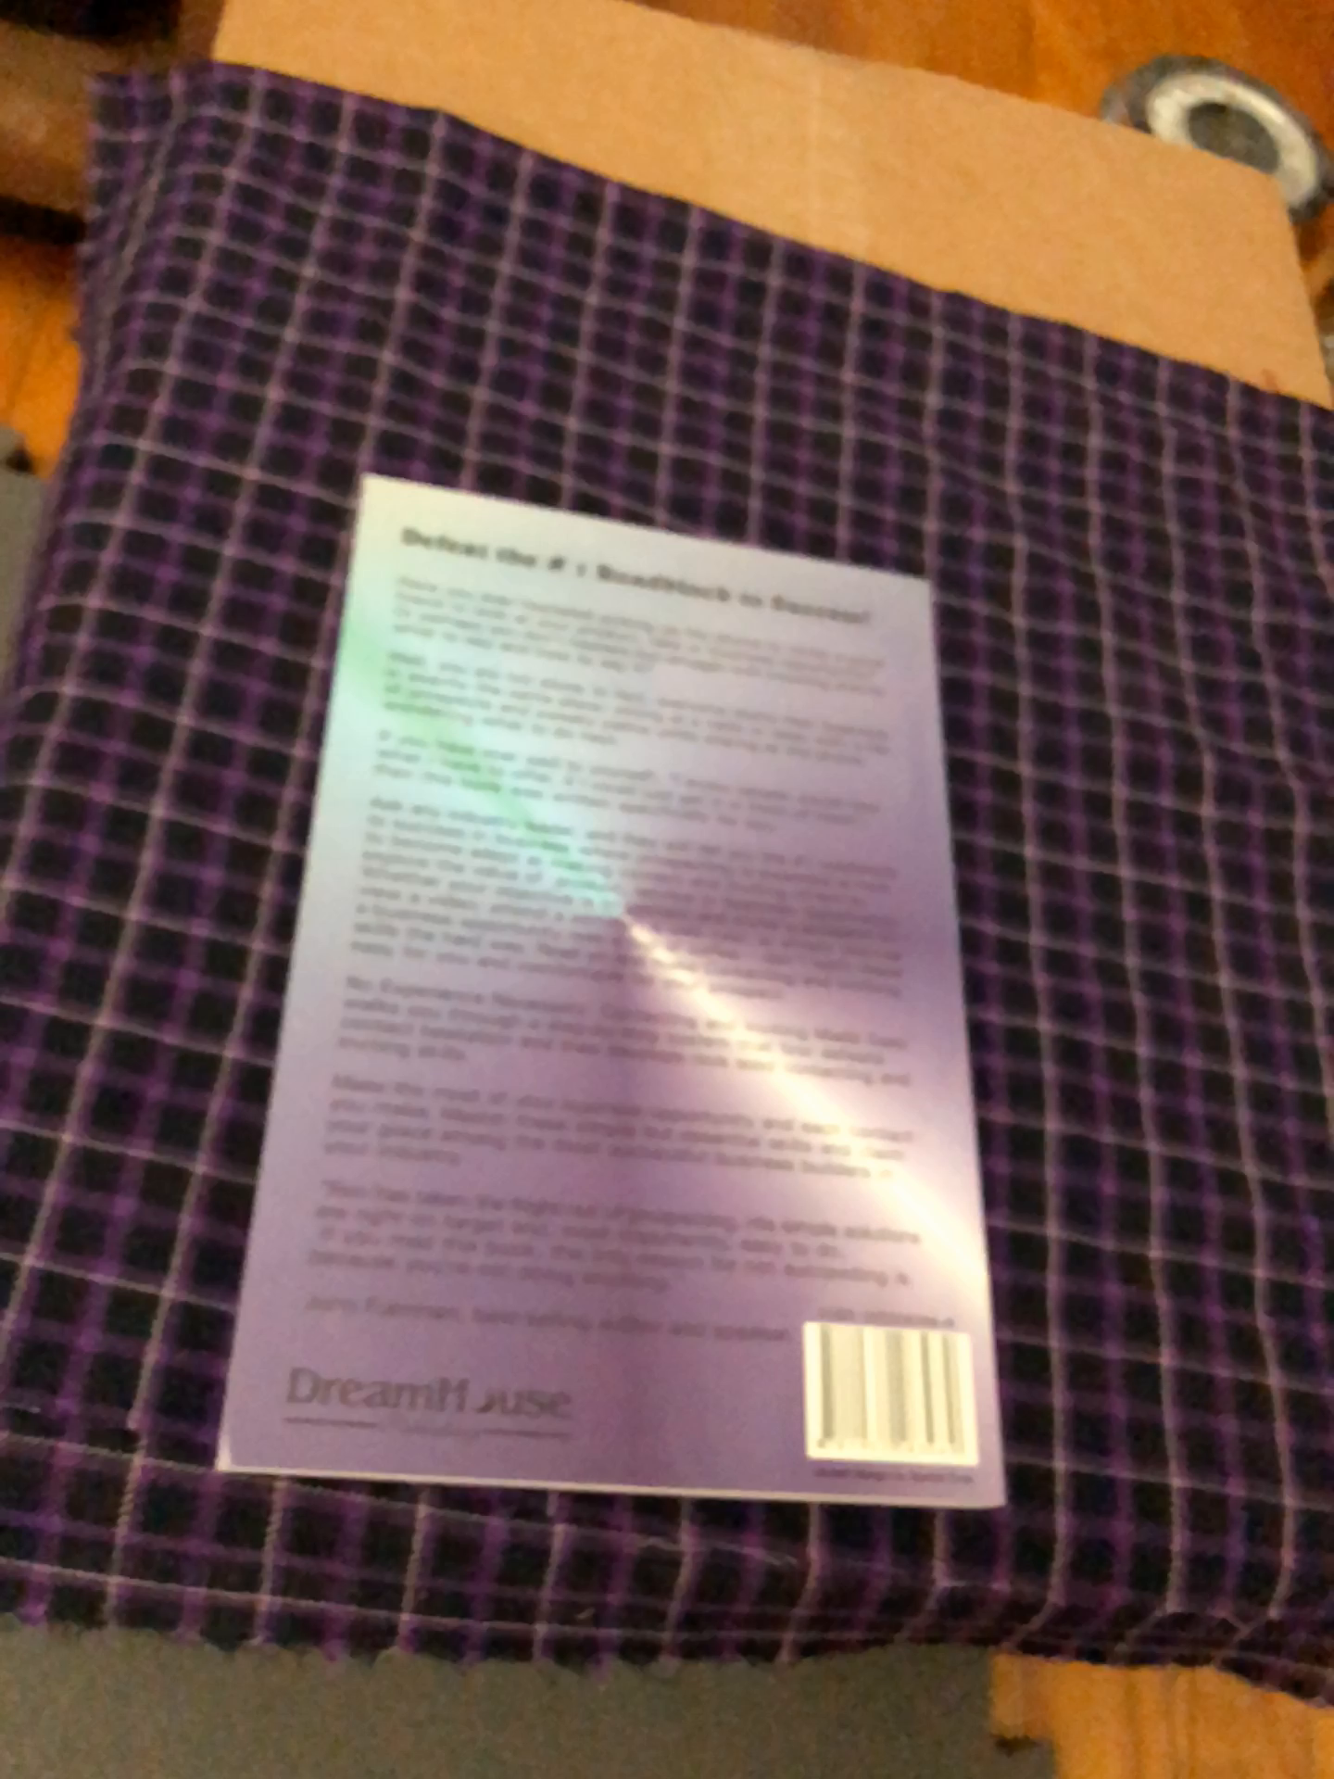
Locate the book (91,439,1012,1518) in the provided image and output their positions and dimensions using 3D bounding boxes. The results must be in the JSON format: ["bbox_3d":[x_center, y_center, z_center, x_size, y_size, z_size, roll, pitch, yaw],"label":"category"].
[{"bbox_3d":[-0.015,0.010,0.317,0.160,0.020,0.221,7,62,-12],"label":"book"}]
